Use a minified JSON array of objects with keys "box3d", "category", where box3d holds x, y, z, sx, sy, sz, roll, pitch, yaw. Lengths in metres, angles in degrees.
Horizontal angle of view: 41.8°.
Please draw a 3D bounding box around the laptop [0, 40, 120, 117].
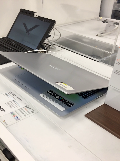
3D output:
[{"box3d":[-0.017,-0.043,0.566,0.240,0.082,0.361,-26,40,-31],"category":"laptop"}]
